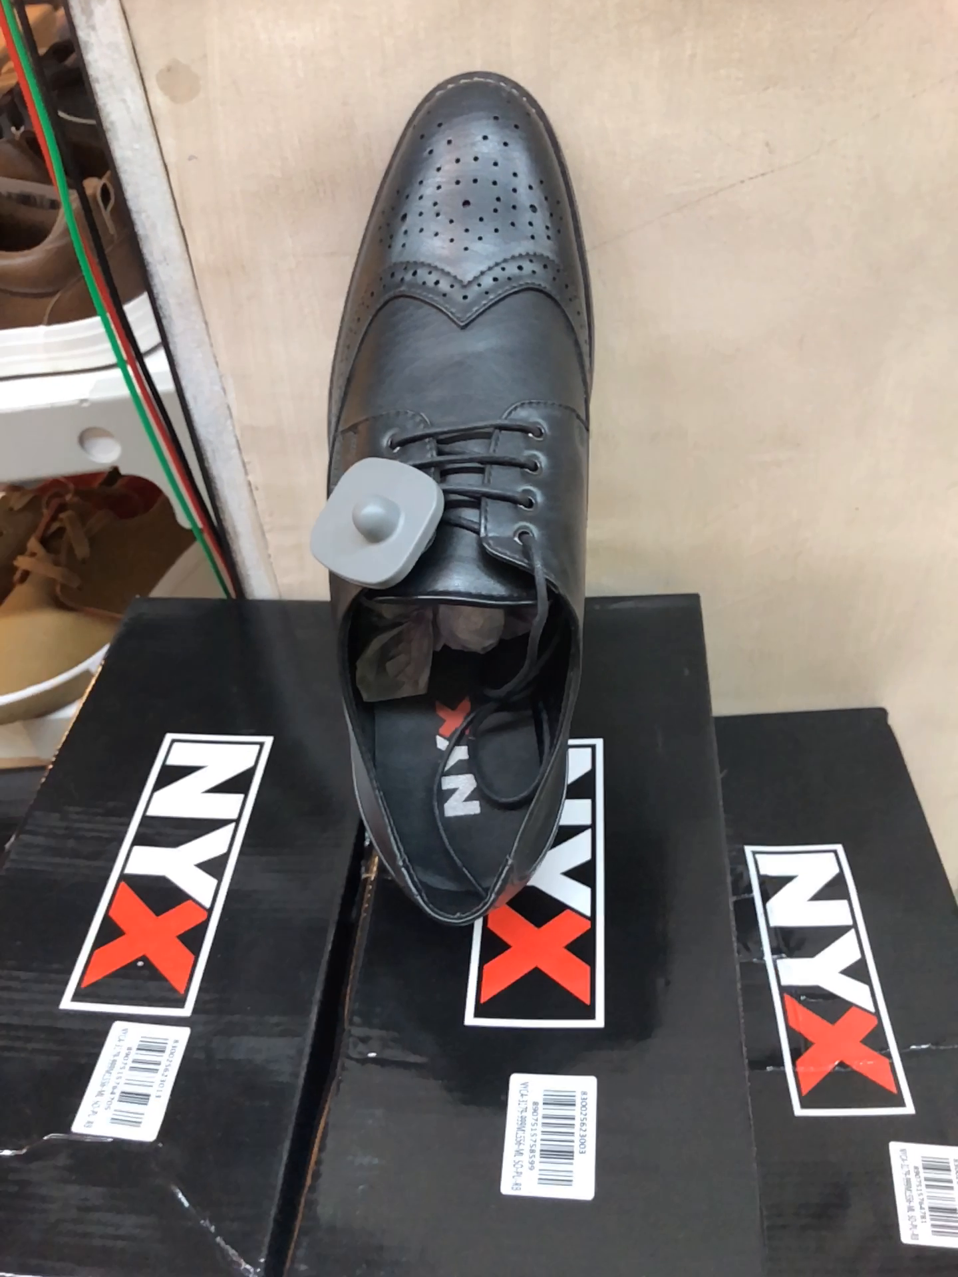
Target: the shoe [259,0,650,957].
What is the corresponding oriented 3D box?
[{"bbox_3d":[-0.004,-0.059,0.366,0.106,0.297,0.107,2,1,5],"label":"shoe"}]
